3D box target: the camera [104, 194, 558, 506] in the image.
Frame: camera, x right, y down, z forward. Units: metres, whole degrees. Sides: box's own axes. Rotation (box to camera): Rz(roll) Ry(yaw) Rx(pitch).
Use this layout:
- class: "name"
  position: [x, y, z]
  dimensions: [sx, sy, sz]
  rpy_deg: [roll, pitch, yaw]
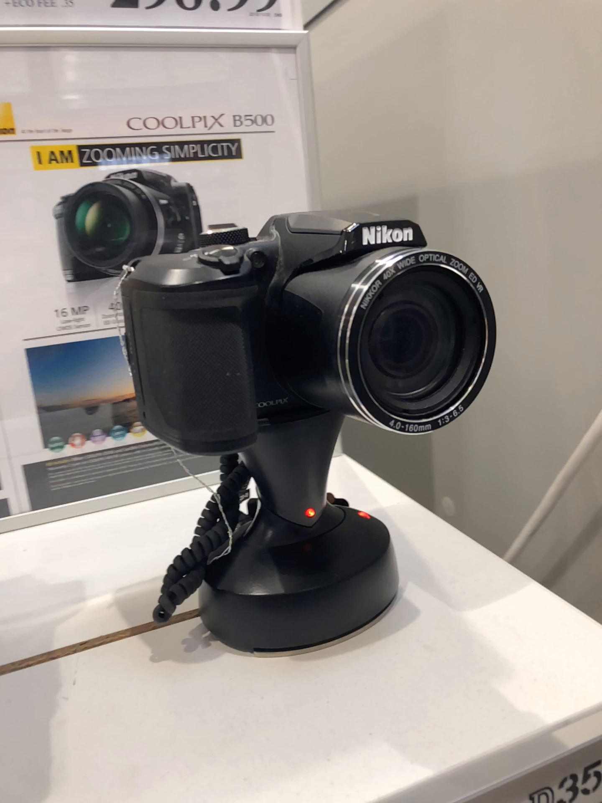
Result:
- class: "camera"
  position: [0.006, -0.028, 0.232]
  dimensions: [0.120, 0.070, 0.100]
  rpy_deg: [-12, 16, -23]
